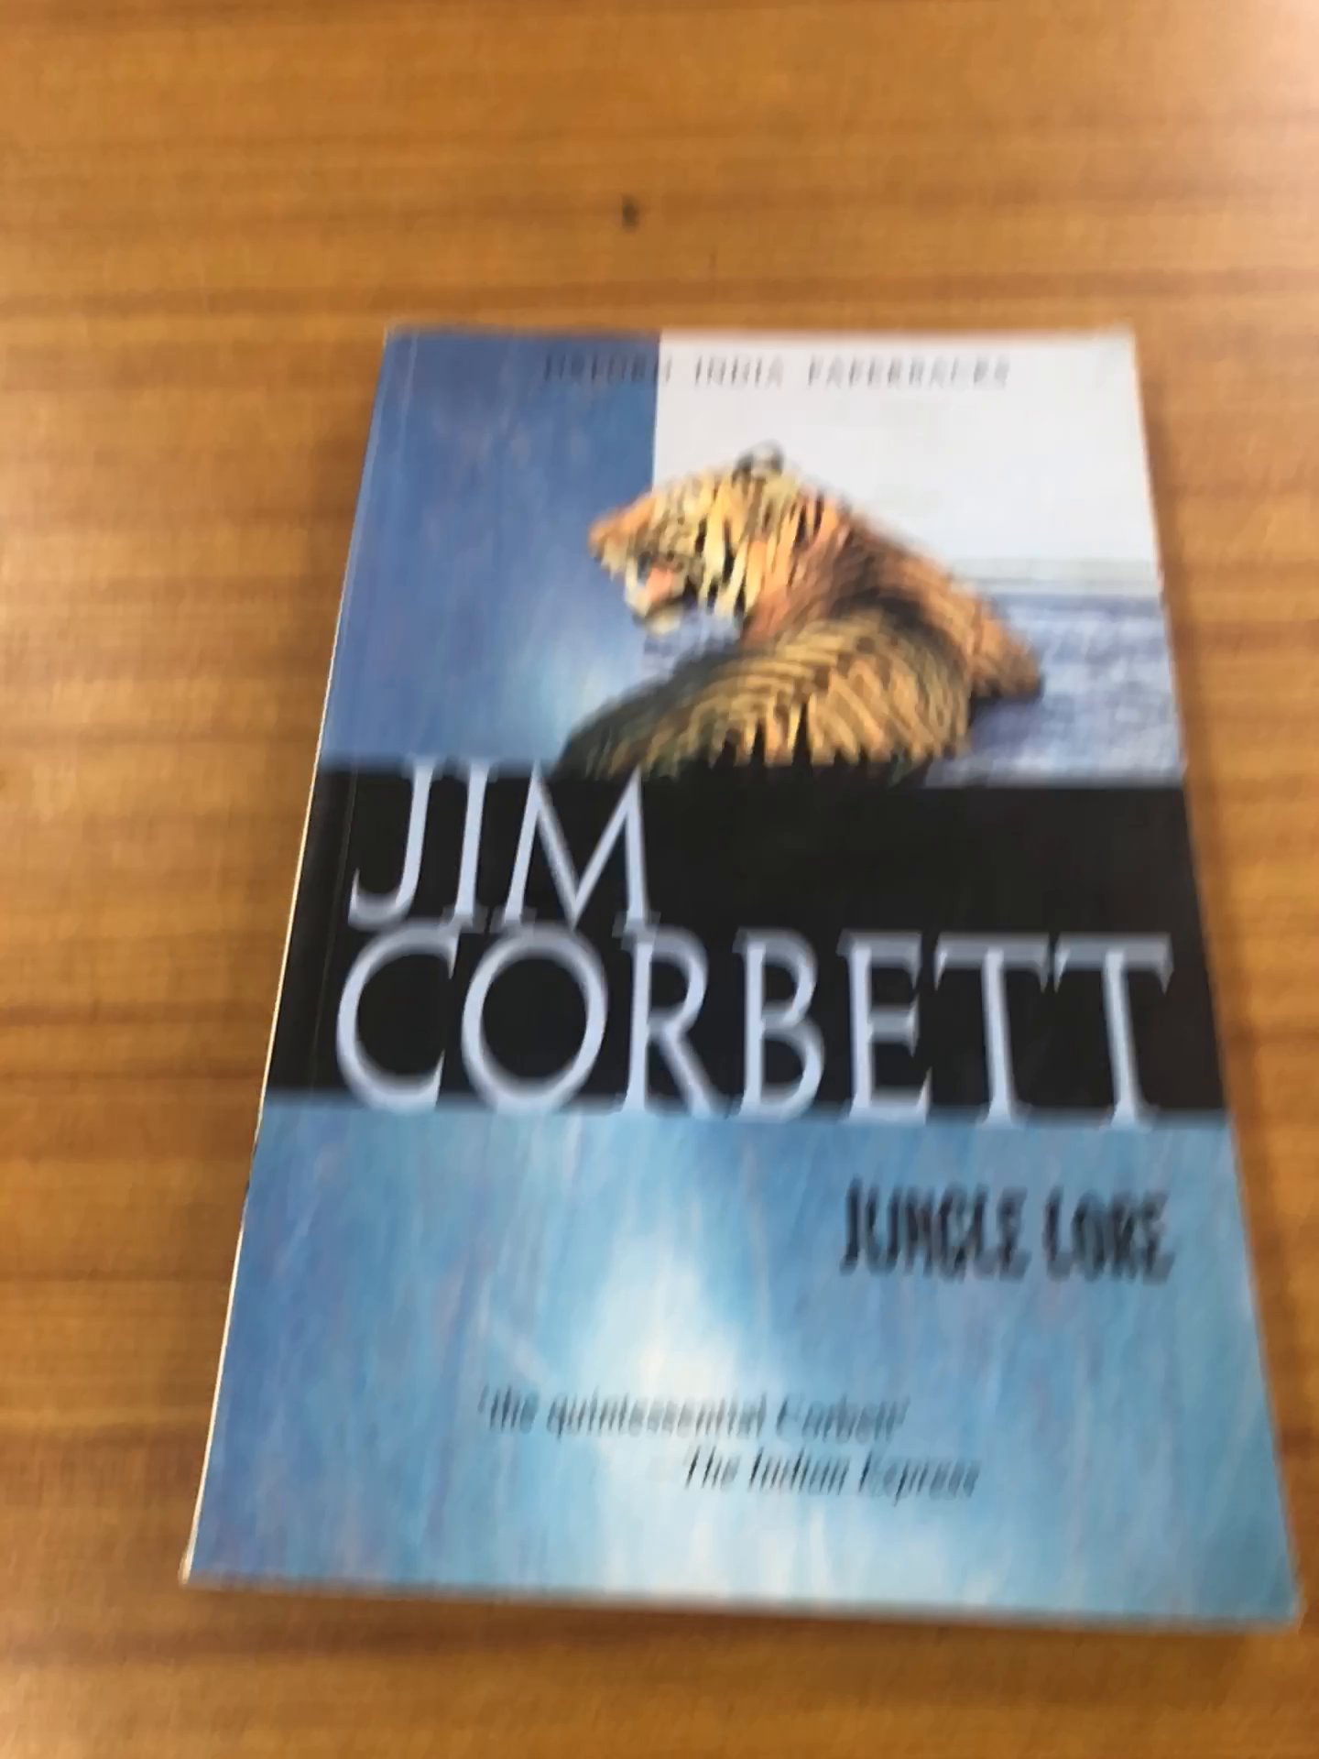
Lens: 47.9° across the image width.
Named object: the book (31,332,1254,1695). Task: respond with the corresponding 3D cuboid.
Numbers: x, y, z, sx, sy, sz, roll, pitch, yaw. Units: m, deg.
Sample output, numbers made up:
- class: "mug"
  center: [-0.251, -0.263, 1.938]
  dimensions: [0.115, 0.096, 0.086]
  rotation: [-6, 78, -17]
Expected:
- class: "book"
  center: [0.000, 0.000, 0.233]
  dimensions: [0.150, 0.010, 0.220]
  rotation: [1, 65, 2]
